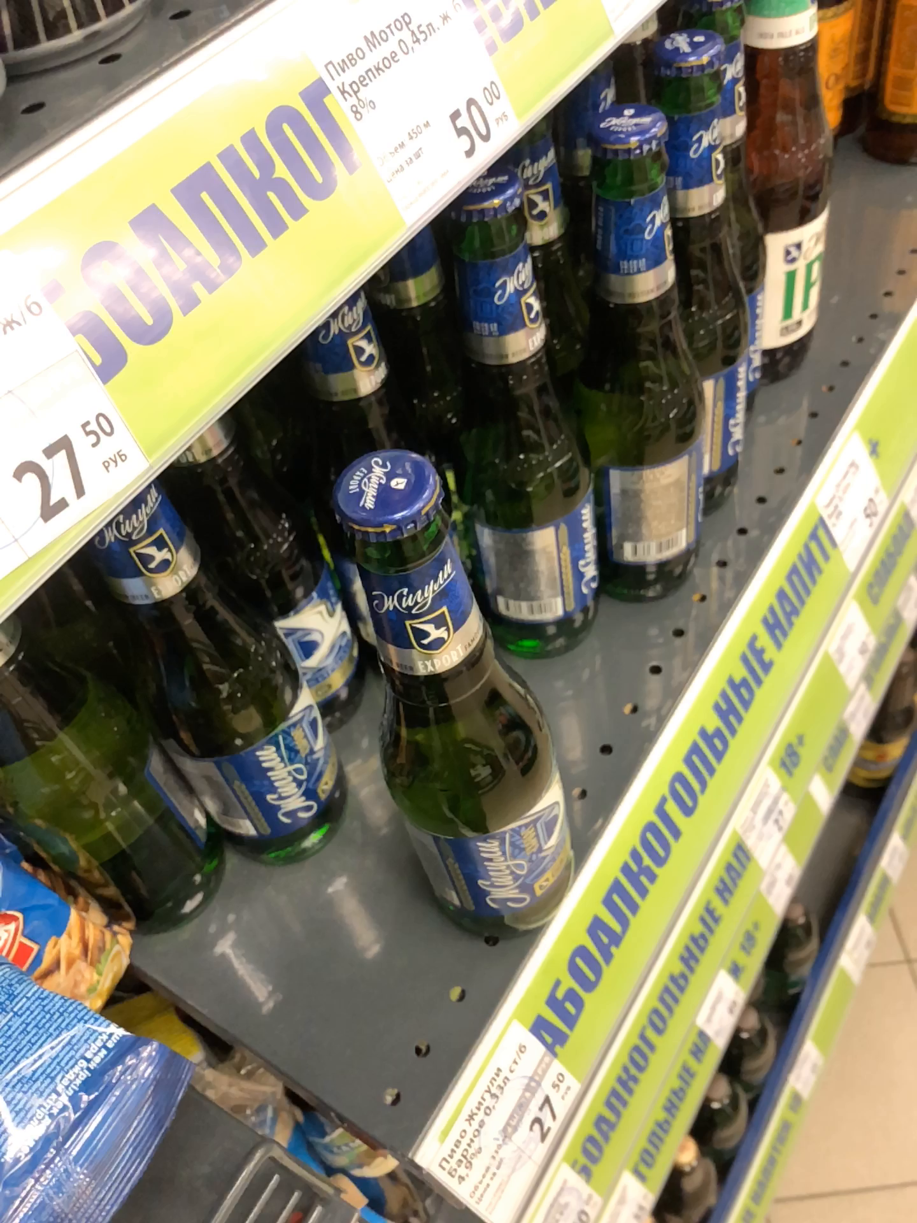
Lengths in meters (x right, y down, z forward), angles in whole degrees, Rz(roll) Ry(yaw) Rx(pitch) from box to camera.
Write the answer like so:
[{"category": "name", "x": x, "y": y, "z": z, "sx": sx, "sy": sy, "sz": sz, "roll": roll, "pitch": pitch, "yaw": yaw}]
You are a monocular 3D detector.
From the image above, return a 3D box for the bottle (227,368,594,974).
[{"category": "bottle", "x": 0.001, "y": 0.039, "z": 0.346, "sx": 0.063, "sy": 0.239, "sz": 0.063, "roll": -5, "pitch": 50, "yaw": 6}]
